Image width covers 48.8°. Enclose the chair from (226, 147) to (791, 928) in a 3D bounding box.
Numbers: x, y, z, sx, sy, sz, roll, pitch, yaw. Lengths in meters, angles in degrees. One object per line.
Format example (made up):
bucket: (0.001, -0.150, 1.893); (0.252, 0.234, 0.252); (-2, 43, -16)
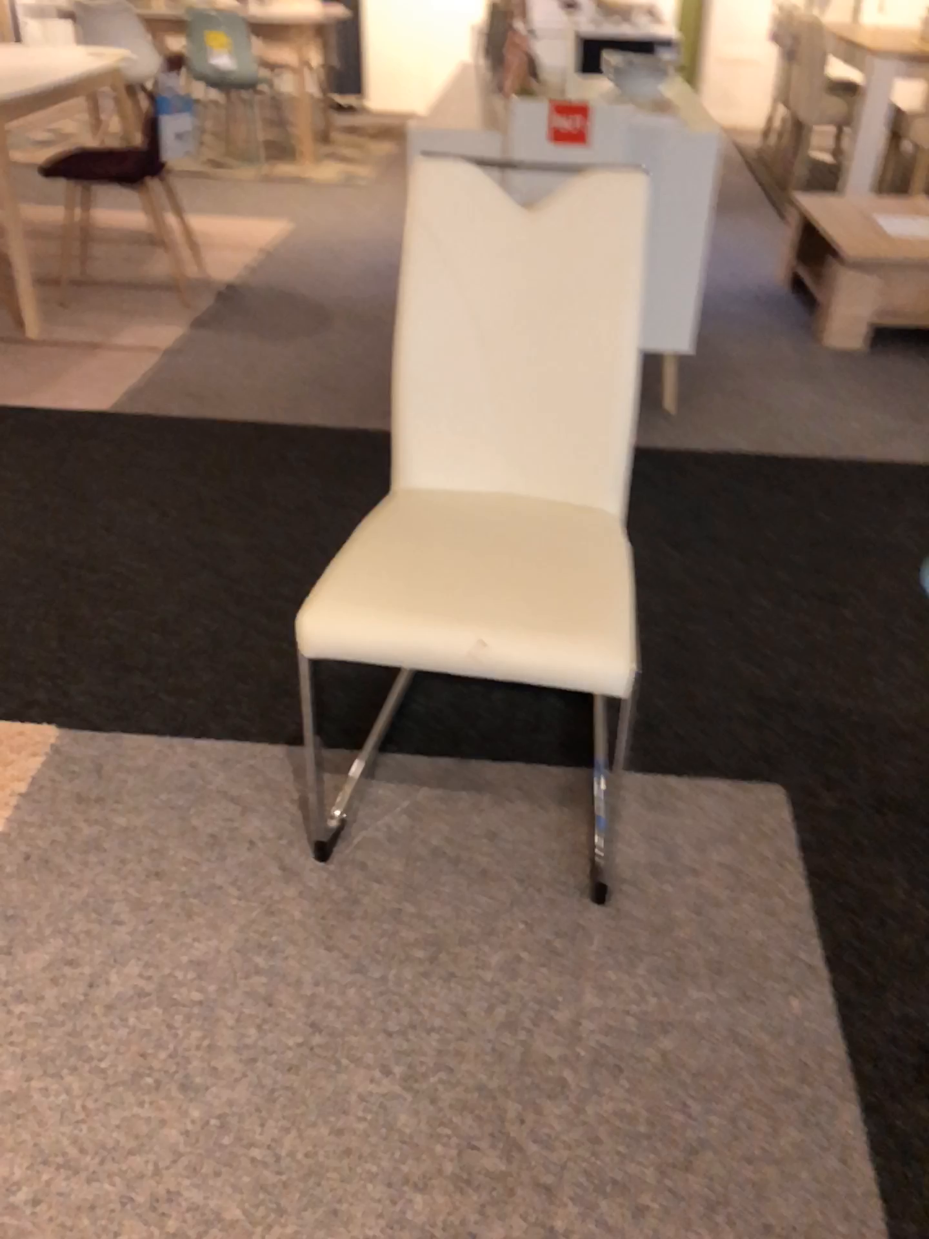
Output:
chair: (0.067, -0.135, 1.523); (0.560, 0.914, 0.635); (6, 34, 6)
